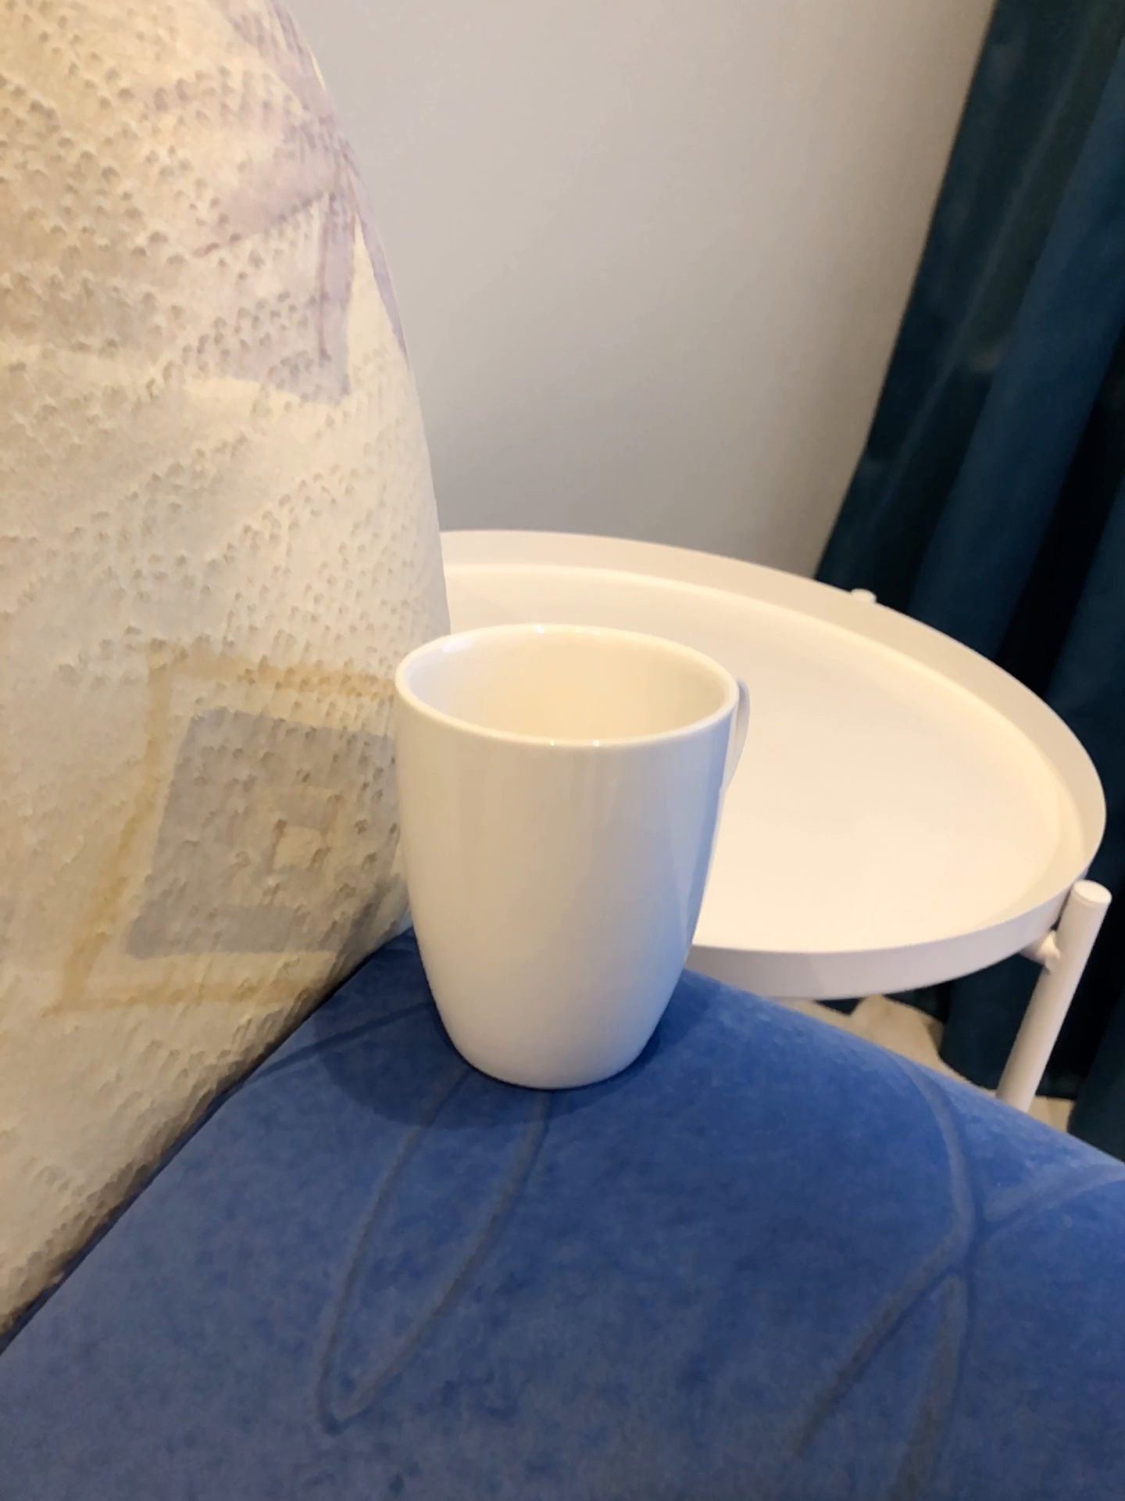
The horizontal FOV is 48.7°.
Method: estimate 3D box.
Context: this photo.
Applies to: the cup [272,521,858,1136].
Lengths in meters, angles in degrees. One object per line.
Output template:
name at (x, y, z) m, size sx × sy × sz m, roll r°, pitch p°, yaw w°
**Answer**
cup at (0.003, 0.007, 0.281) m, size 0.080 × 0.079 × 0.111 m, roll 20°, pitch 29°, yaw 24°
